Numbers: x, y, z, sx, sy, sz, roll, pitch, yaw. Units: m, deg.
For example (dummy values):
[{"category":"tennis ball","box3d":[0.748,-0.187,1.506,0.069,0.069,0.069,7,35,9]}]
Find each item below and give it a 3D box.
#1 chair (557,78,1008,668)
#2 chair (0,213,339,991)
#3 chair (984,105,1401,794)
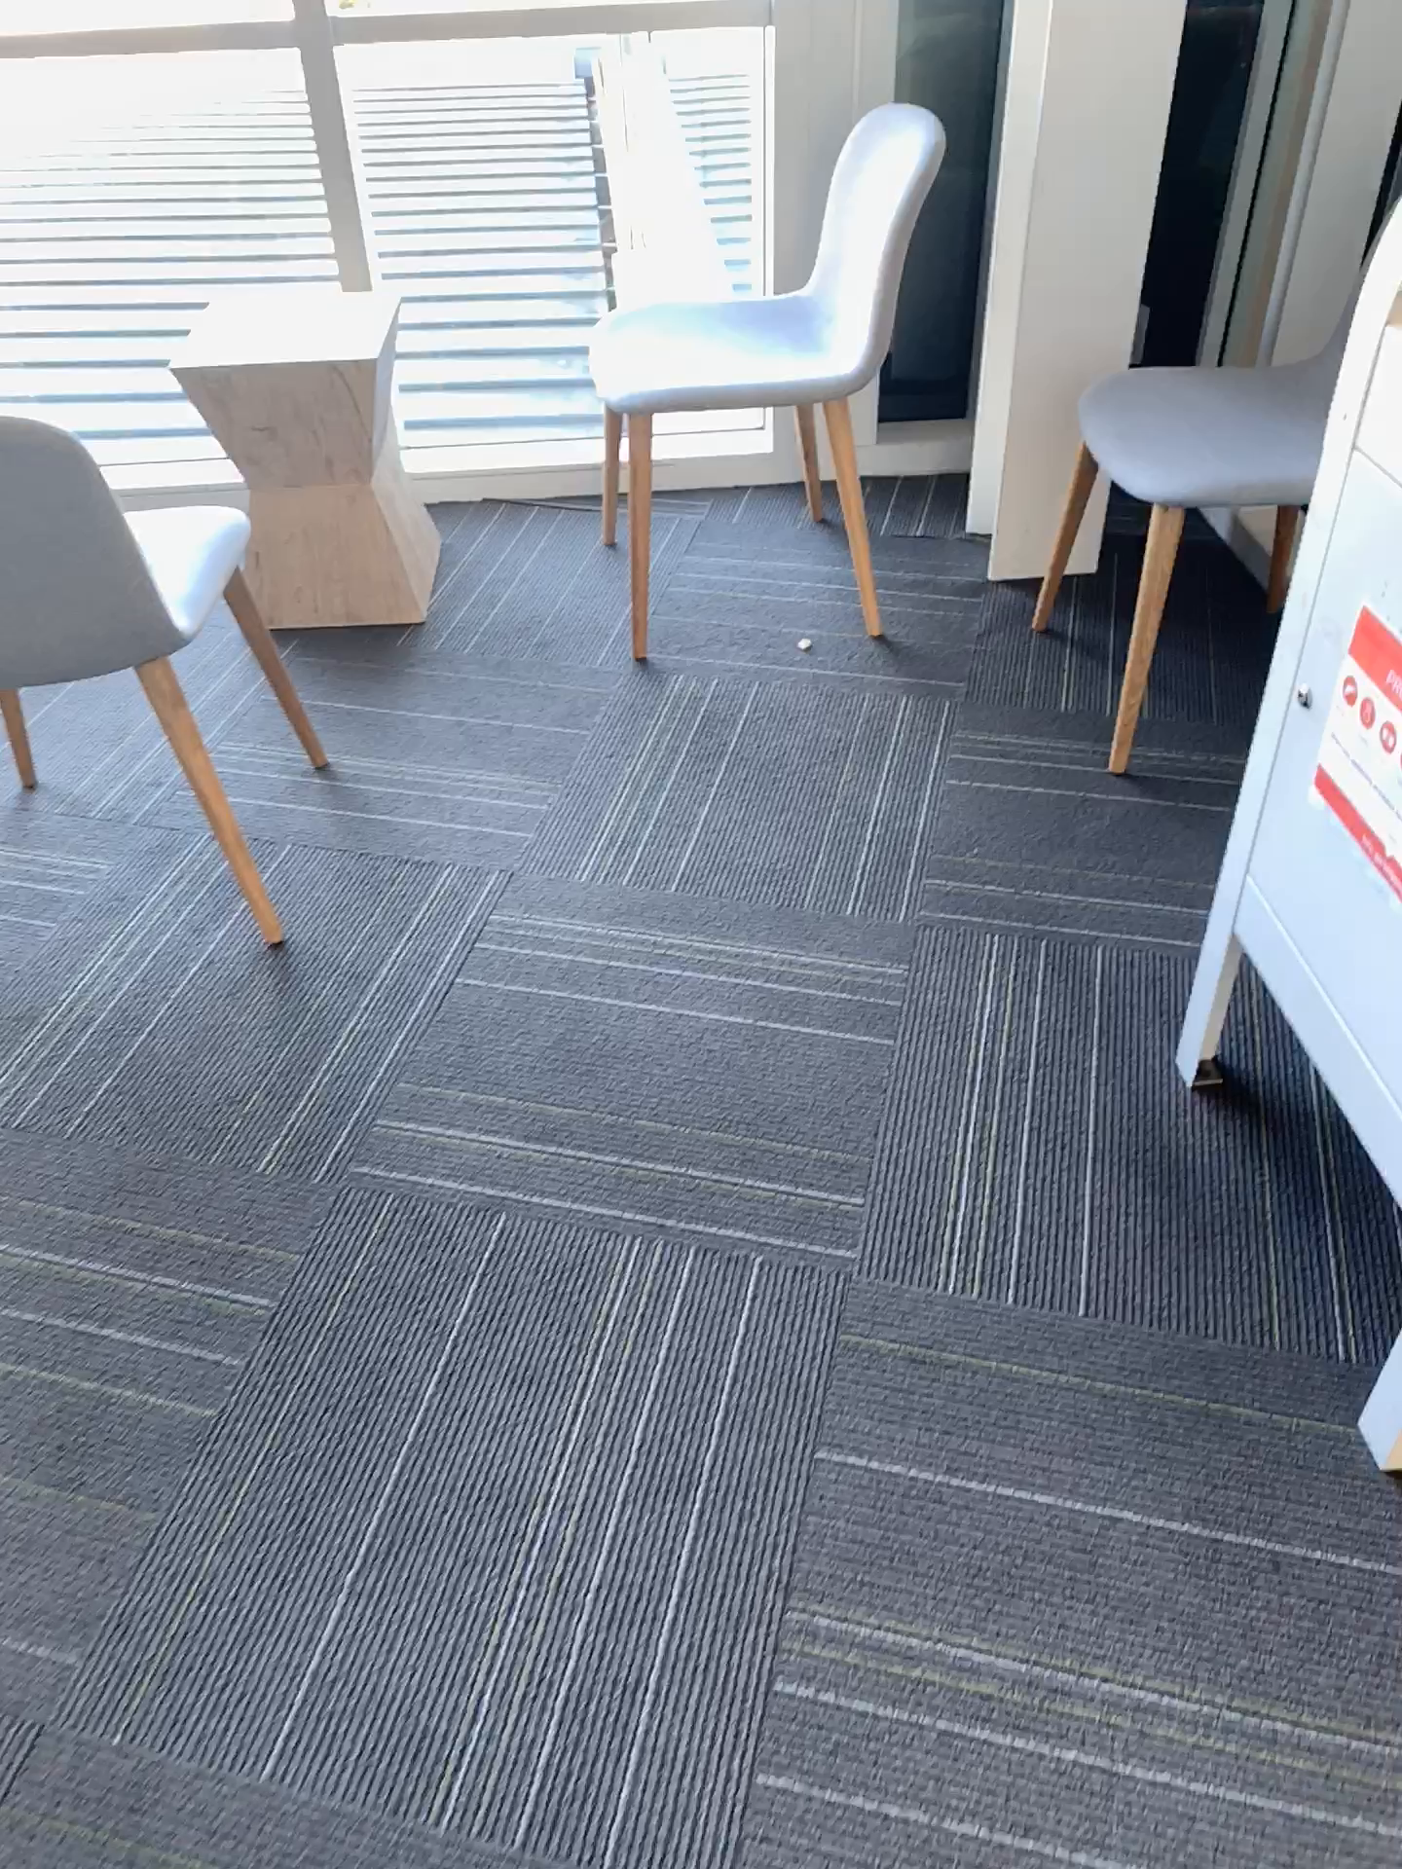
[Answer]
[{"category":"chair","box3d":[0.101,-0.975,2.472,0.600,0.745,0.644,-6,40,-5]},{"category":"chair","box3d":[-0.857,-0.434,1.872,0.560,0.765,0.604,-4,40,-3]},{"category":"chair","box3d":[0.851,-0.740,2.167,0.600,0.765,0.644,-6,40,-5]}]
